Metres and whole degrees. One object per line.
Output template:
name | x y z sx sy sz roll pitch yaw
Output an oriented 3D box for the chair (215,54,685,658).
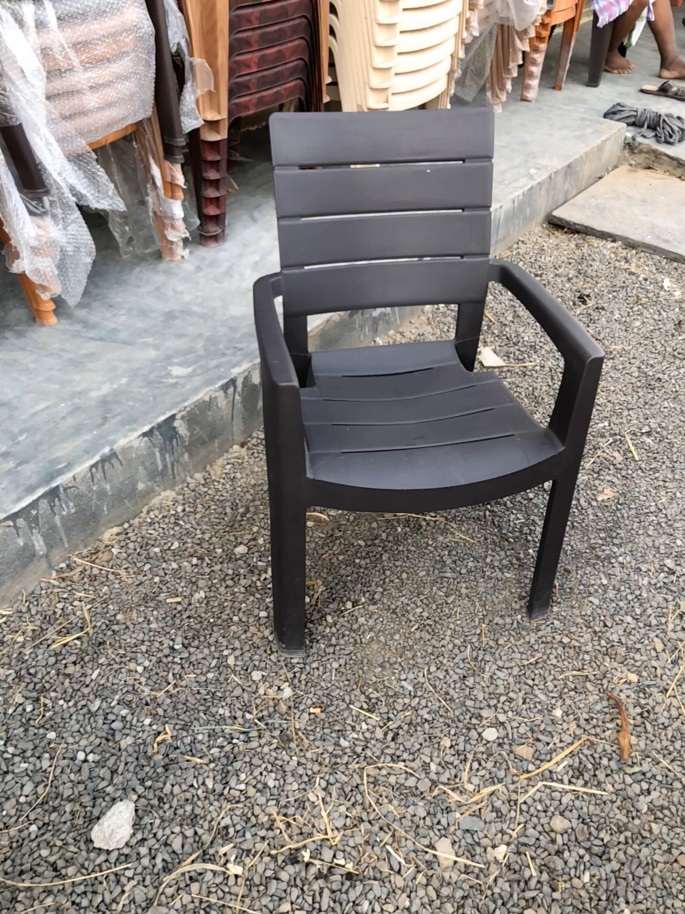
chair | 0.116 -0.200 1.368 0.571 0.796 0.683 -7 42 -9
